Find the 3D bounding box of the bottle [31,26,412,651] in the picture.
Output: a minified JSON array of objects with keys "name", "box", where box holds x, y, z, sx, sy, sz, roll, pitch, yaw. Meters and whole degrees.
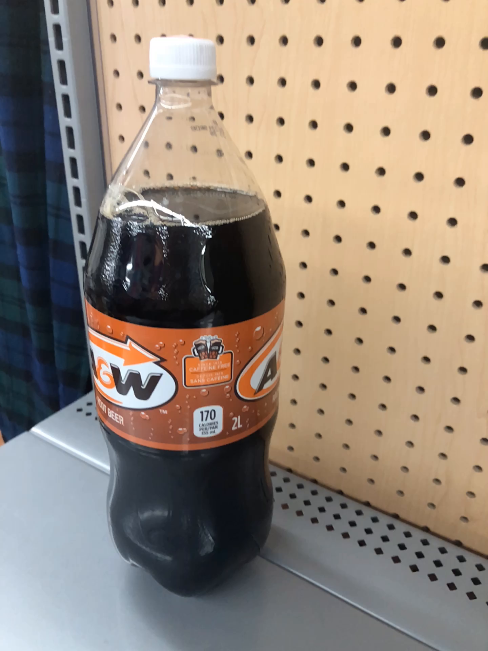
[{"name":"bottle","box":[-0.013,0.013,0.305,0.120,0.308,0.120,1,25,0]}]
